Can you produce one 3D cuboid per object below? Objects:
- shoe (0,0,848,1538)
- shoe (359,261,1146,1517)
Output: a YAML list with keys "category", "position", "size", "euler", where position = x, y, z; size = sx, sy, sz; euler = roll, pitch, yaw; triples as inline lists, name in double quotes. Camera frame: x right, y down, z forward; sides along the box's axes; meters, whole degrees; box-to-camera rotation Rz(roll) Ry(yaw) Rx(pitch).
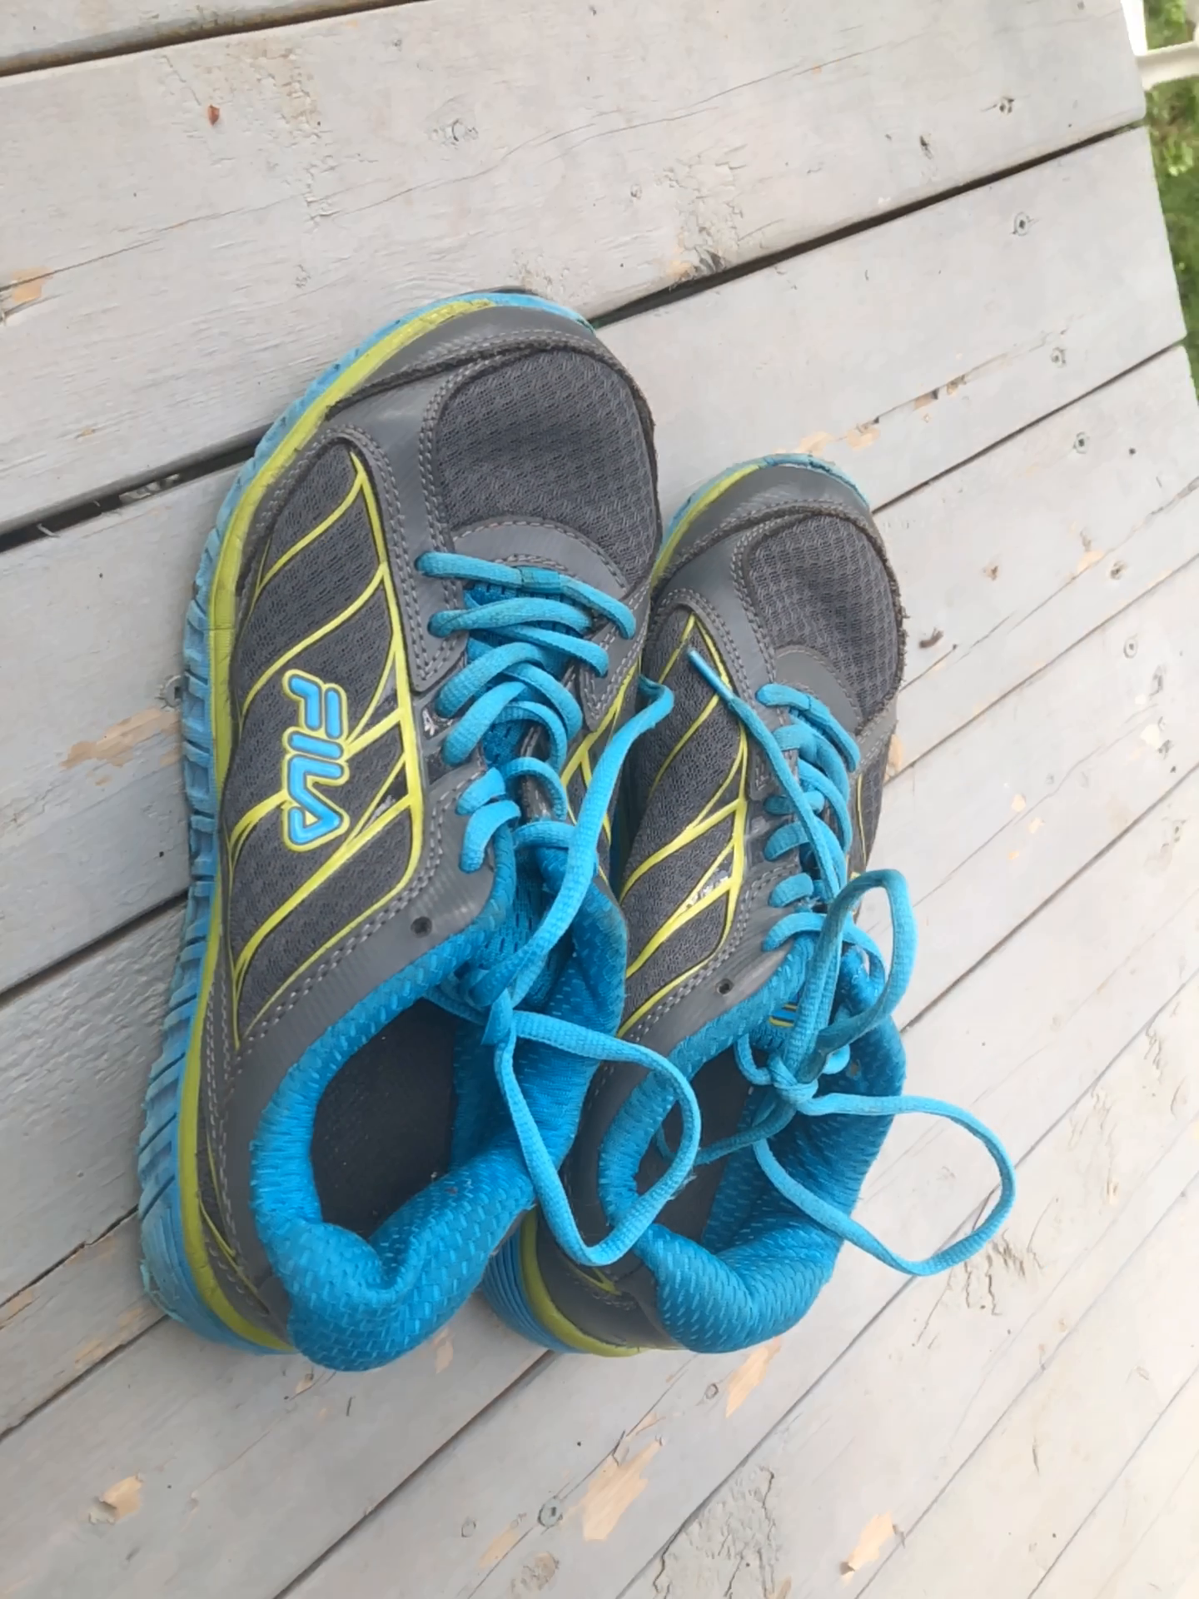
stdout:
- category: "shoe"
  position: [-0.052, -0.005, 0.324]
  size: [0.110, 0.130, 0.290]
  euler: [16, 84, -33]
- category: "shoe"
  position: [0.044, 0.024, 0.352]
  size: [0.110, 0.090, 0.280]
  euler: [21, 80, -32]
